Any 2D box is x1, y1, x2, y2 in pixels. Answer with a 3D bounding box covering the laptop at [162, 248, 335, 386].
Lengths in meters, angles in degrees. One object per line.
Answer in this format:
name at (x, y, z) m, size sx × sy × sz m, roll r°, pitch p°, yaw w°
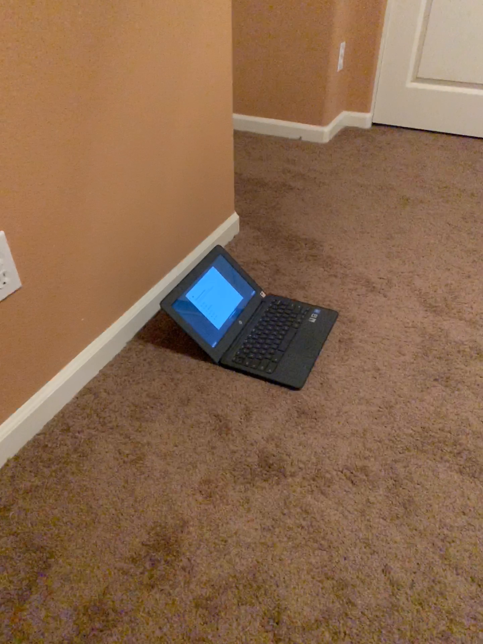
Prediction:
laptop at (0.025, -0.030, 1.227) m, size 0.331 × 0.124 × 0.289 m, roll 15°, pitch 40°, yaw 19°
